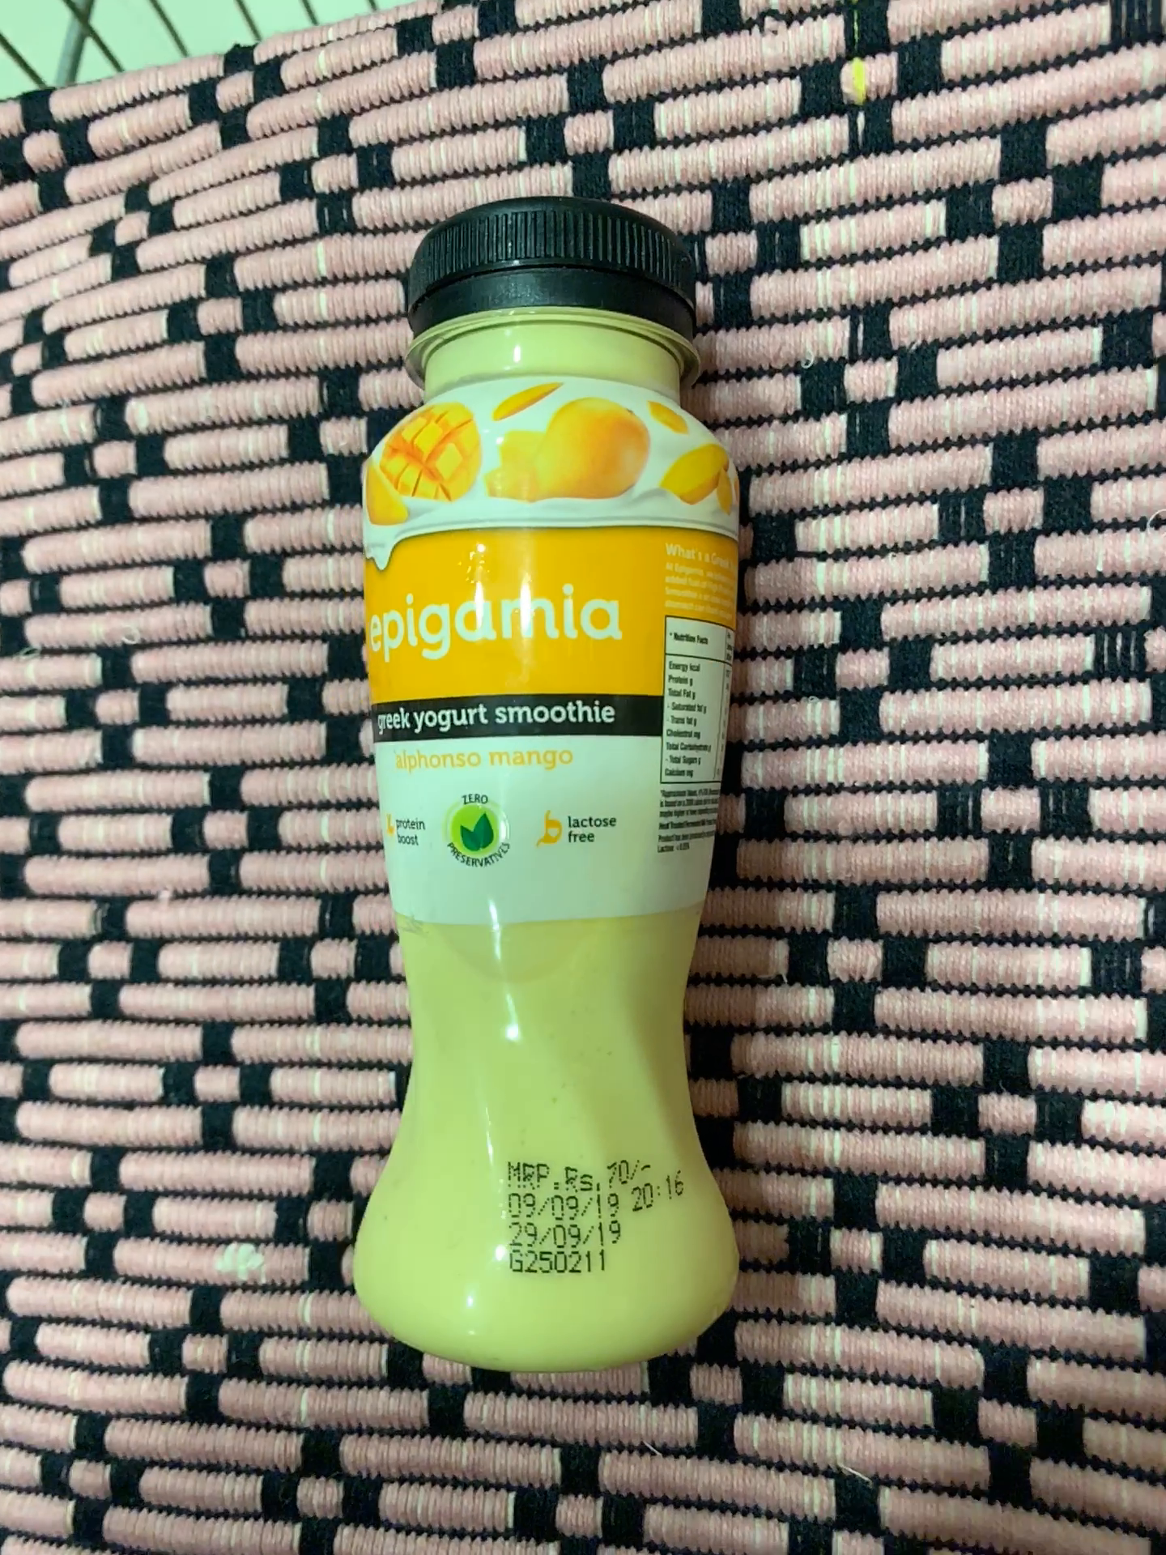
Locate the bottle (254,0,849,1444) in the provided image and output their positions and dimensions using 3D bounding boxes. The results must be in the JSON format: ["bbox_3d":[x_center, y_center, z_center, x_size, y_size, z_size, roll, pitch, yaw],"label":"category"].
[{"bbox_3d":[-0.001,-0.008,0.172,0.060,0.060,0.160,-2,86,27],"label":"bottle"}]
